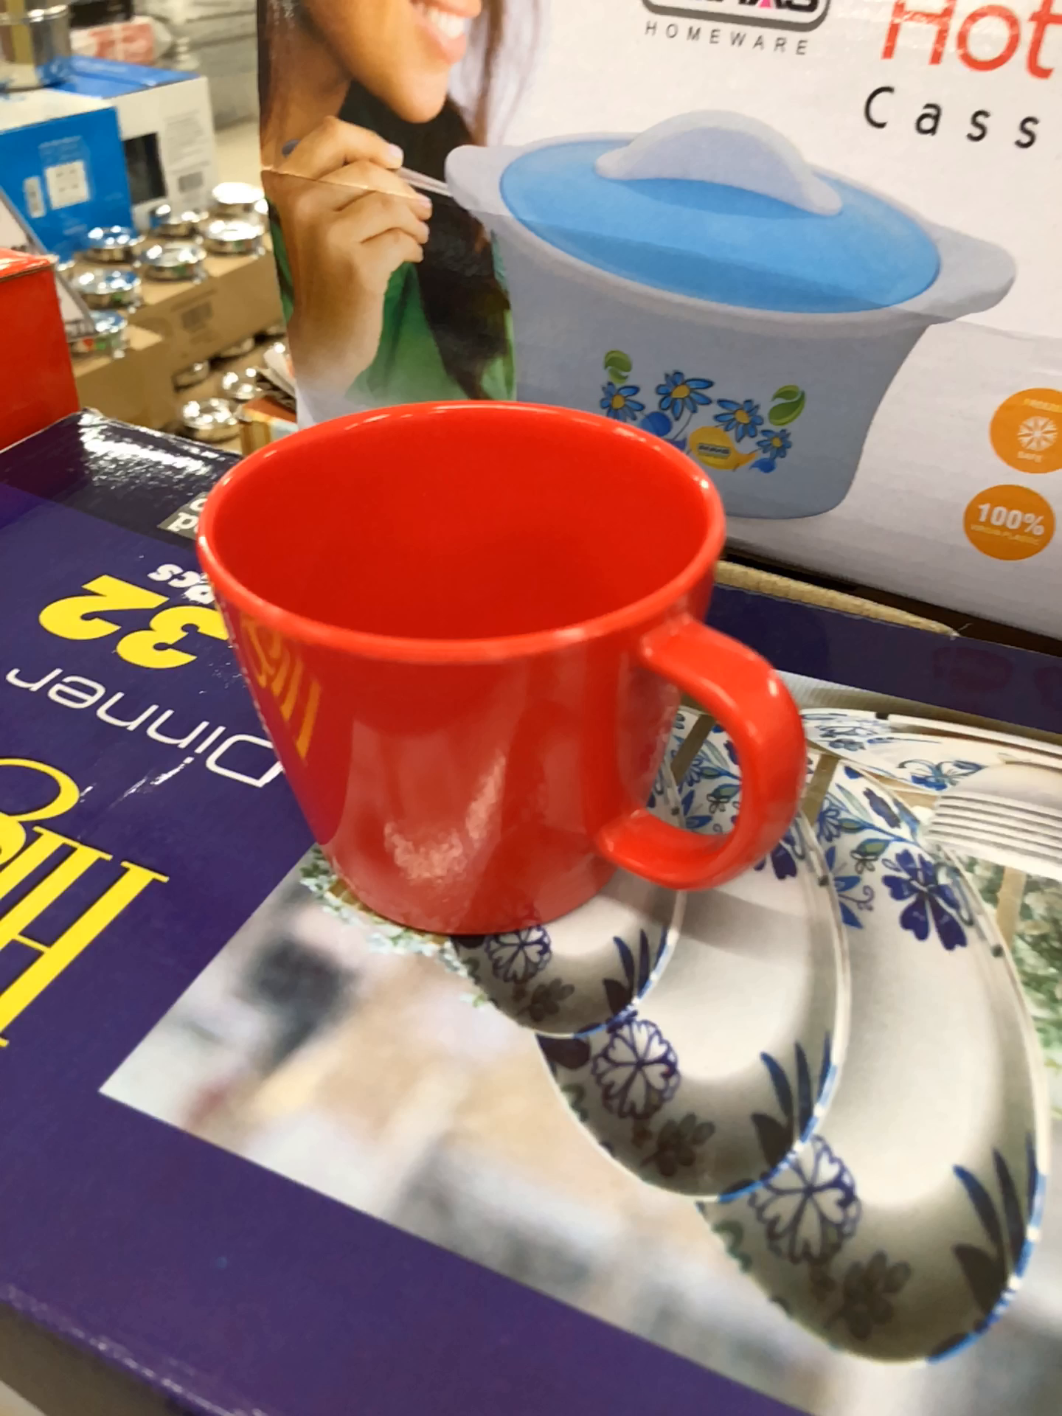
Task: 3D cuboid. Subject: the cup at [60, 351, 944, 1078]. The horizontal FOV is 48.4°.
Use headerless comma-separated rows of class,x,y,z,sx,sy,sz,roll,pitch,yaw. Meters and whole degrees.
cup,0.000,-0.008,0.183,0.100,0.050,0.081,18,40,19
